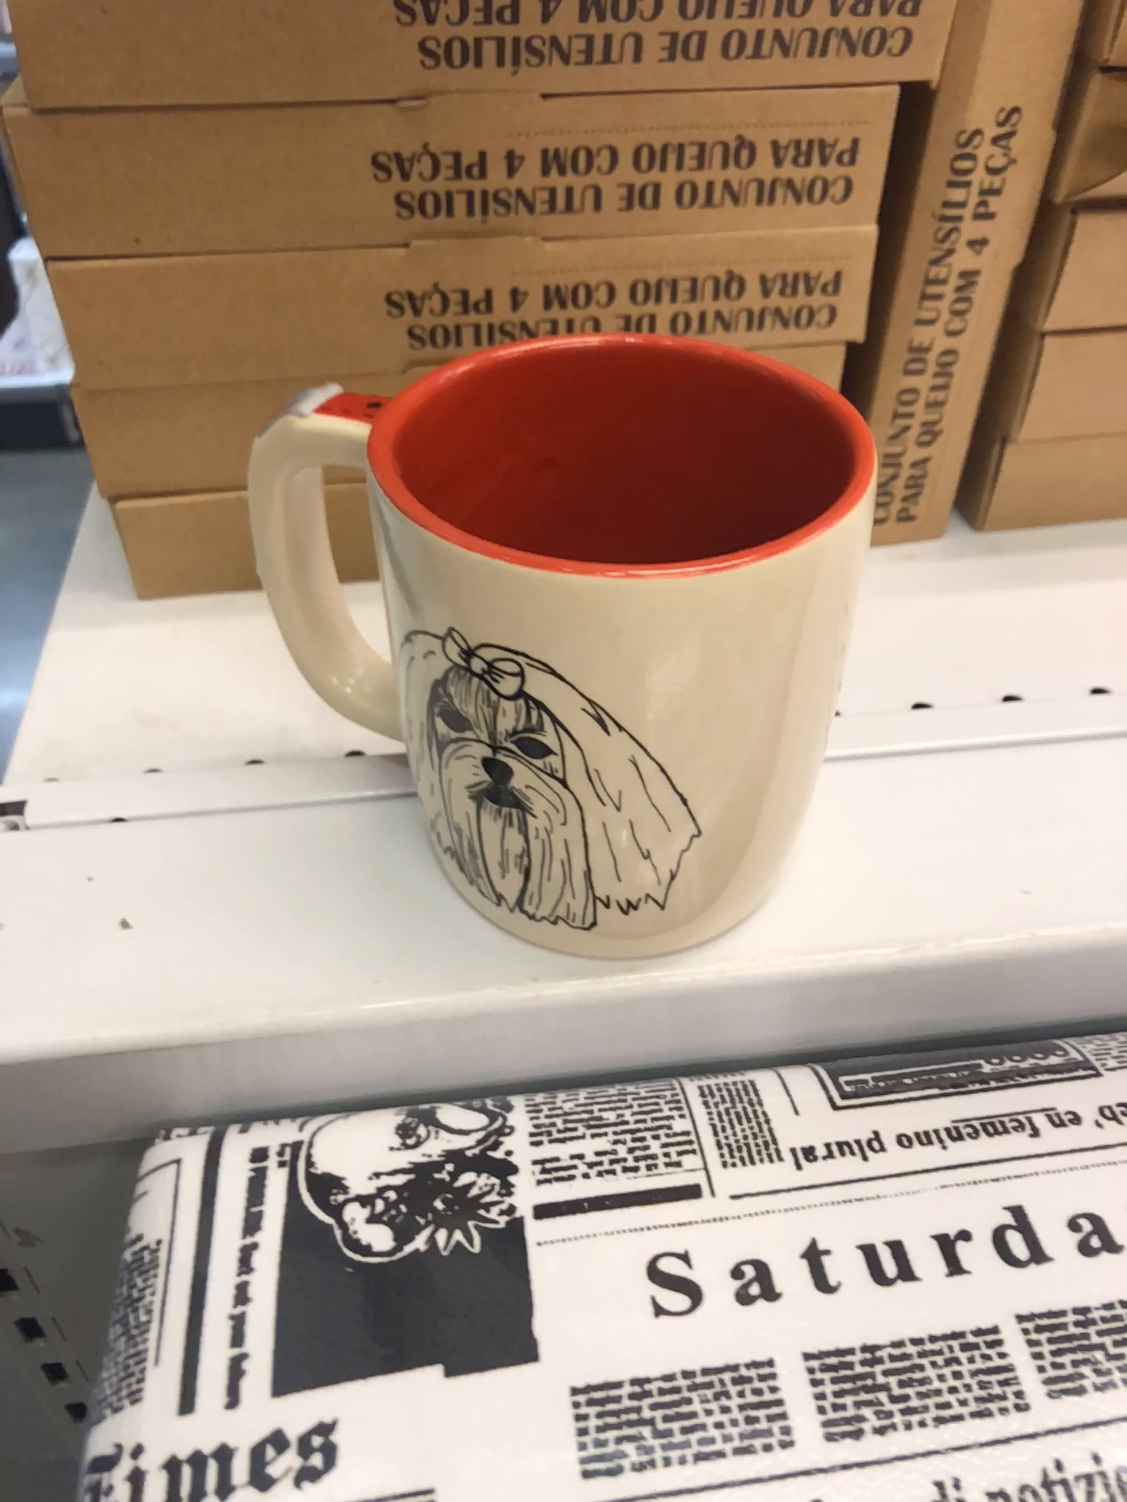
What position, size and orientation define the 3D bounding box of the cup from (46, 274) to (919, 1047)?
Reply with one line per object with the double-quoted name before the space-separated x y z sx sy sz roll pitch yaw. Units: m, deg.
"cup" -0.007 -0.022 0.237 0.120 0.089 0.091 11 42 13
